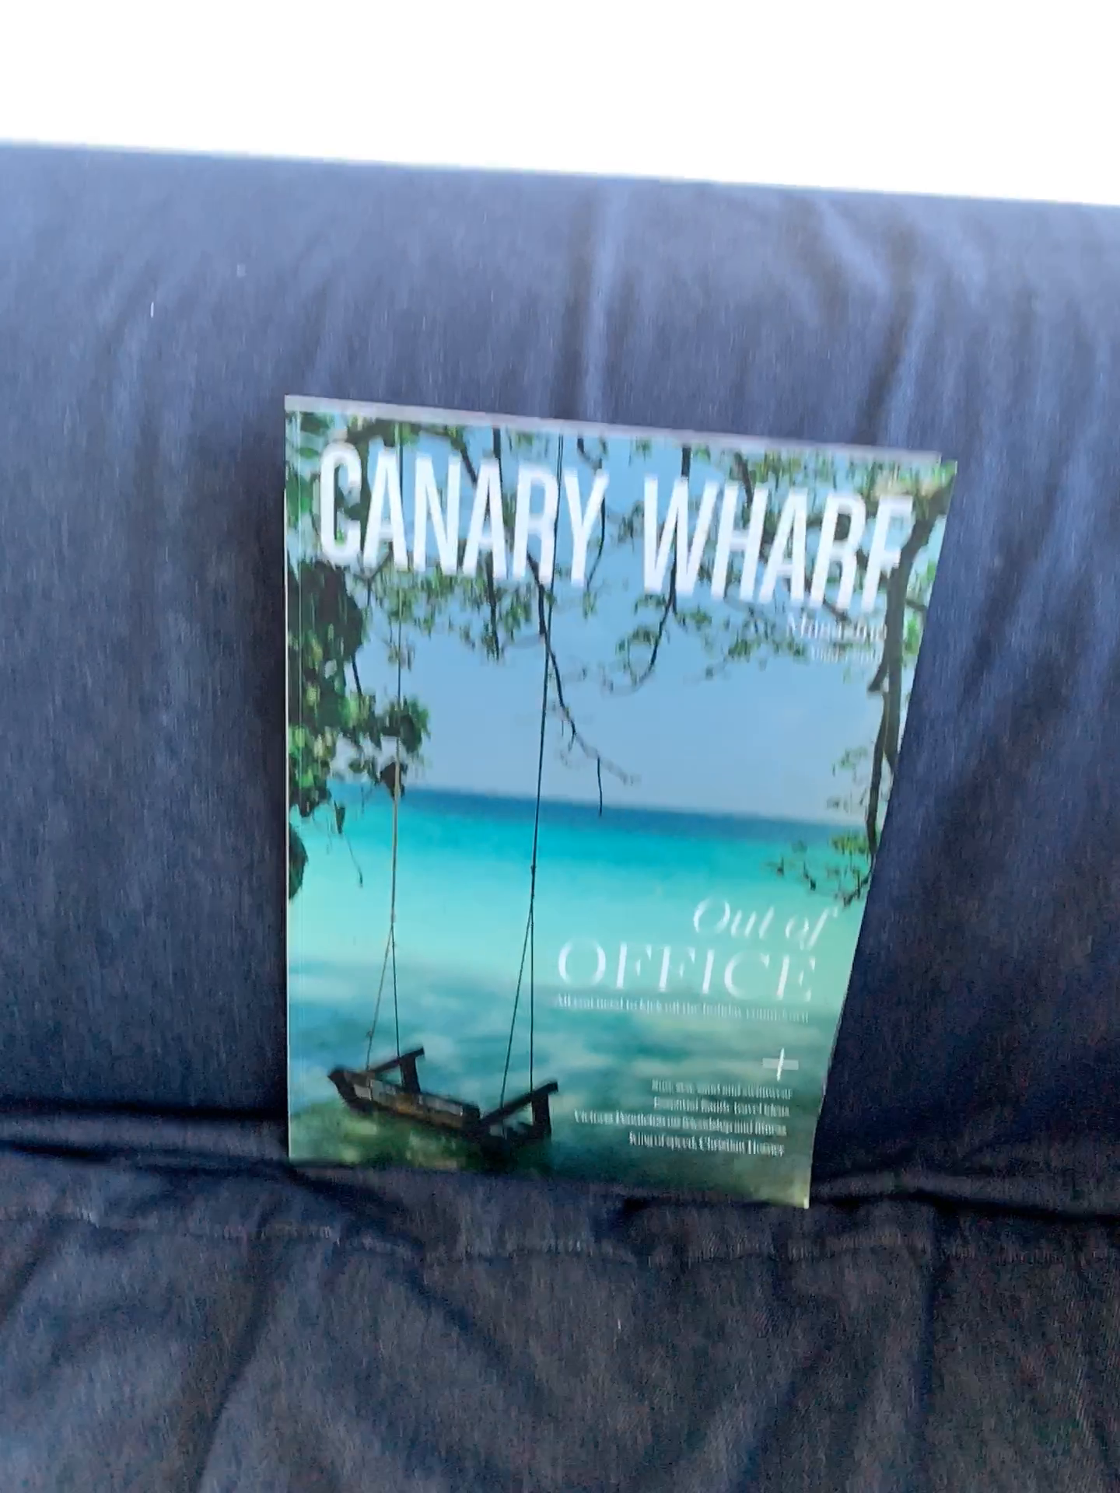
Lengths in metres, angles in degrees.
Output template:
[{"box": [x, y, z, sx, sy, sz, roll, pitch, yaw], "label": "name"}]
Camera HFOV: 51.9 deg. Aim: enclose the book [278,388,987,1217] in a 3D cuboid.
[{"box": [0.012, 0.029, 0.391, 0.205, 0.274, 0.030, 5, 19, 1], "label": "book"}]
